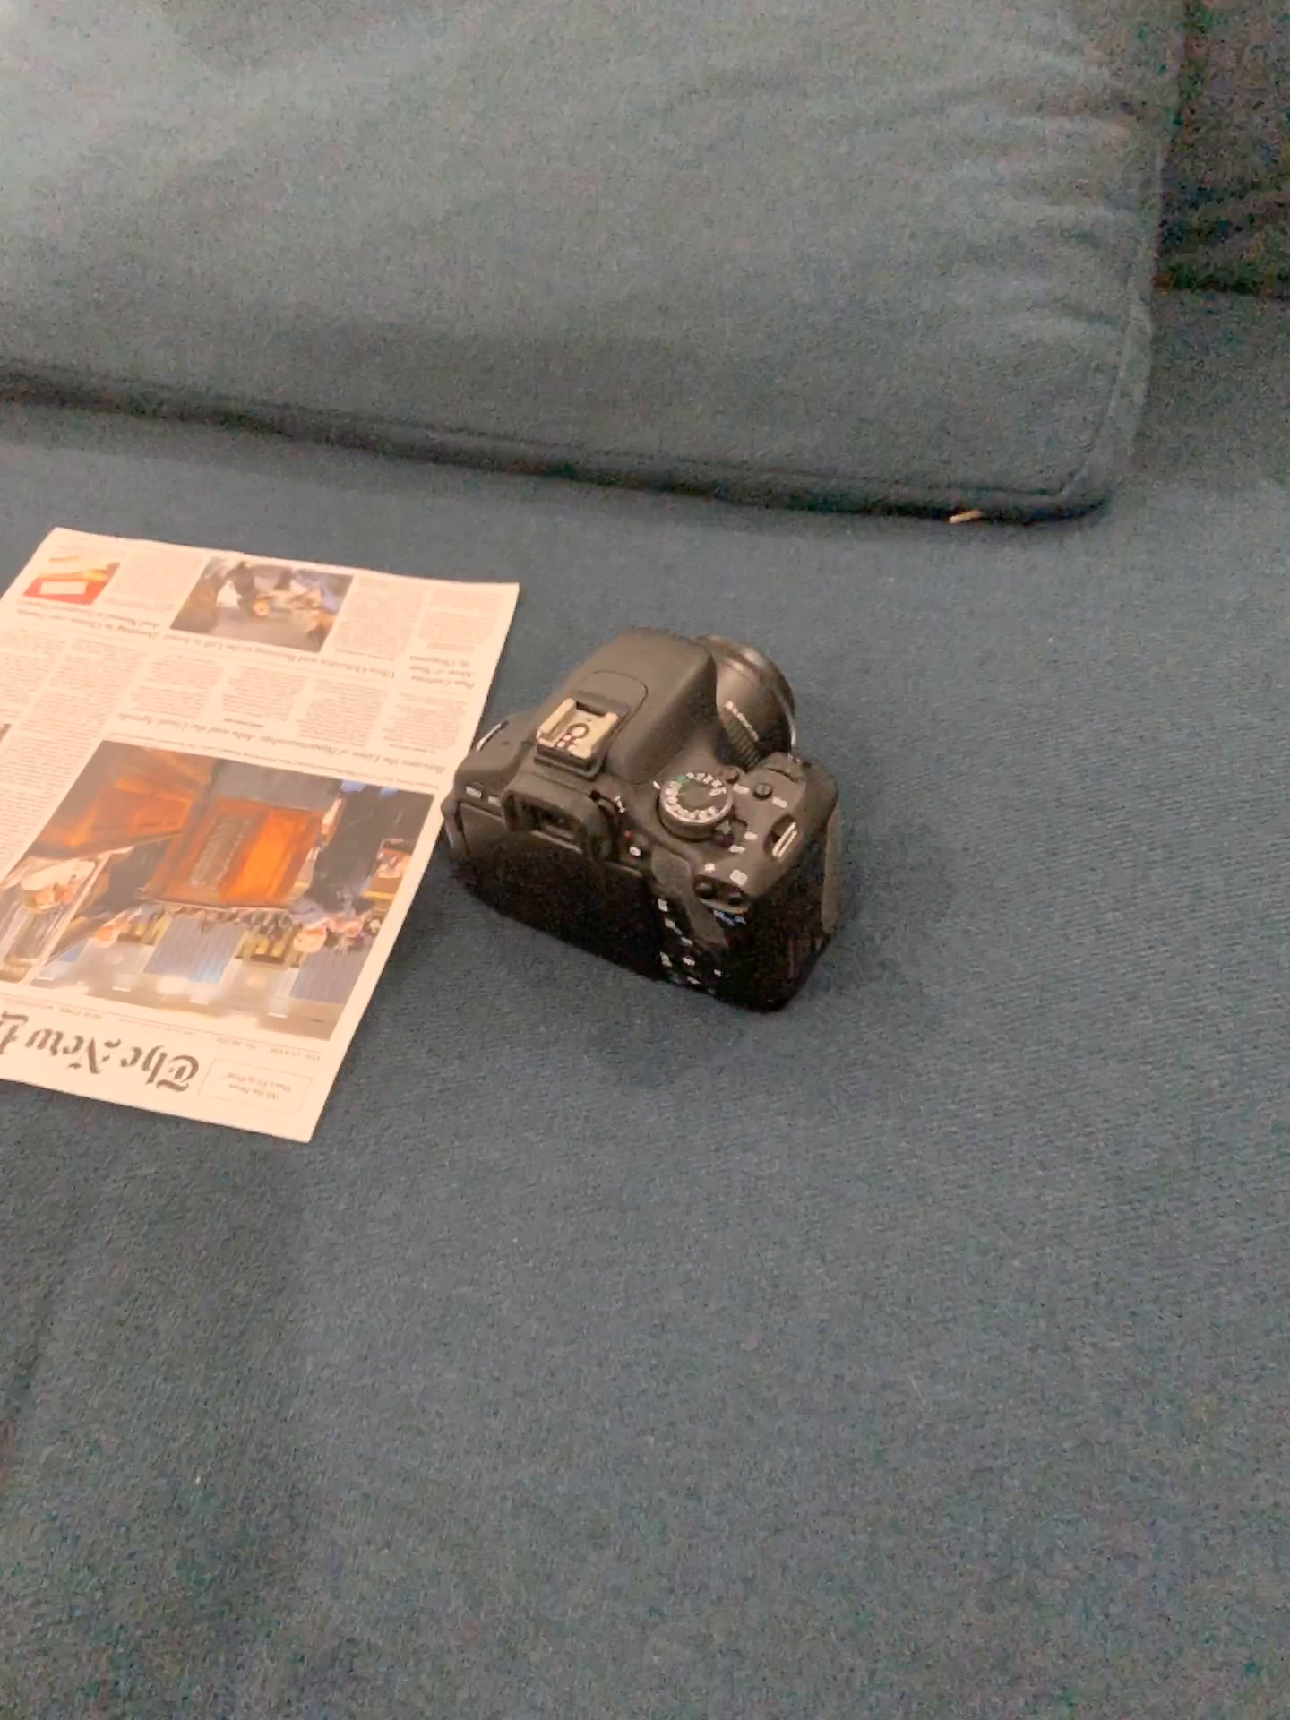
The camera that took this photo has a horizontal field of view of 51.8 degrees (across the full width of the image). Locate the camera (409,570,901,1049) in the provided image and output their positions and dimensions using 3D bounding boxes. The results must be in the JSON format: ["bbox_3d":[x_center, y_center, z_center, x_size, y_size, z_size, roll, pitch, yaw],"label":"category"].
[{"bbox_3d":[0.007,-0.023,0.511,0.140,0.100,0.110,21,51,22],"label":"camera"}]
